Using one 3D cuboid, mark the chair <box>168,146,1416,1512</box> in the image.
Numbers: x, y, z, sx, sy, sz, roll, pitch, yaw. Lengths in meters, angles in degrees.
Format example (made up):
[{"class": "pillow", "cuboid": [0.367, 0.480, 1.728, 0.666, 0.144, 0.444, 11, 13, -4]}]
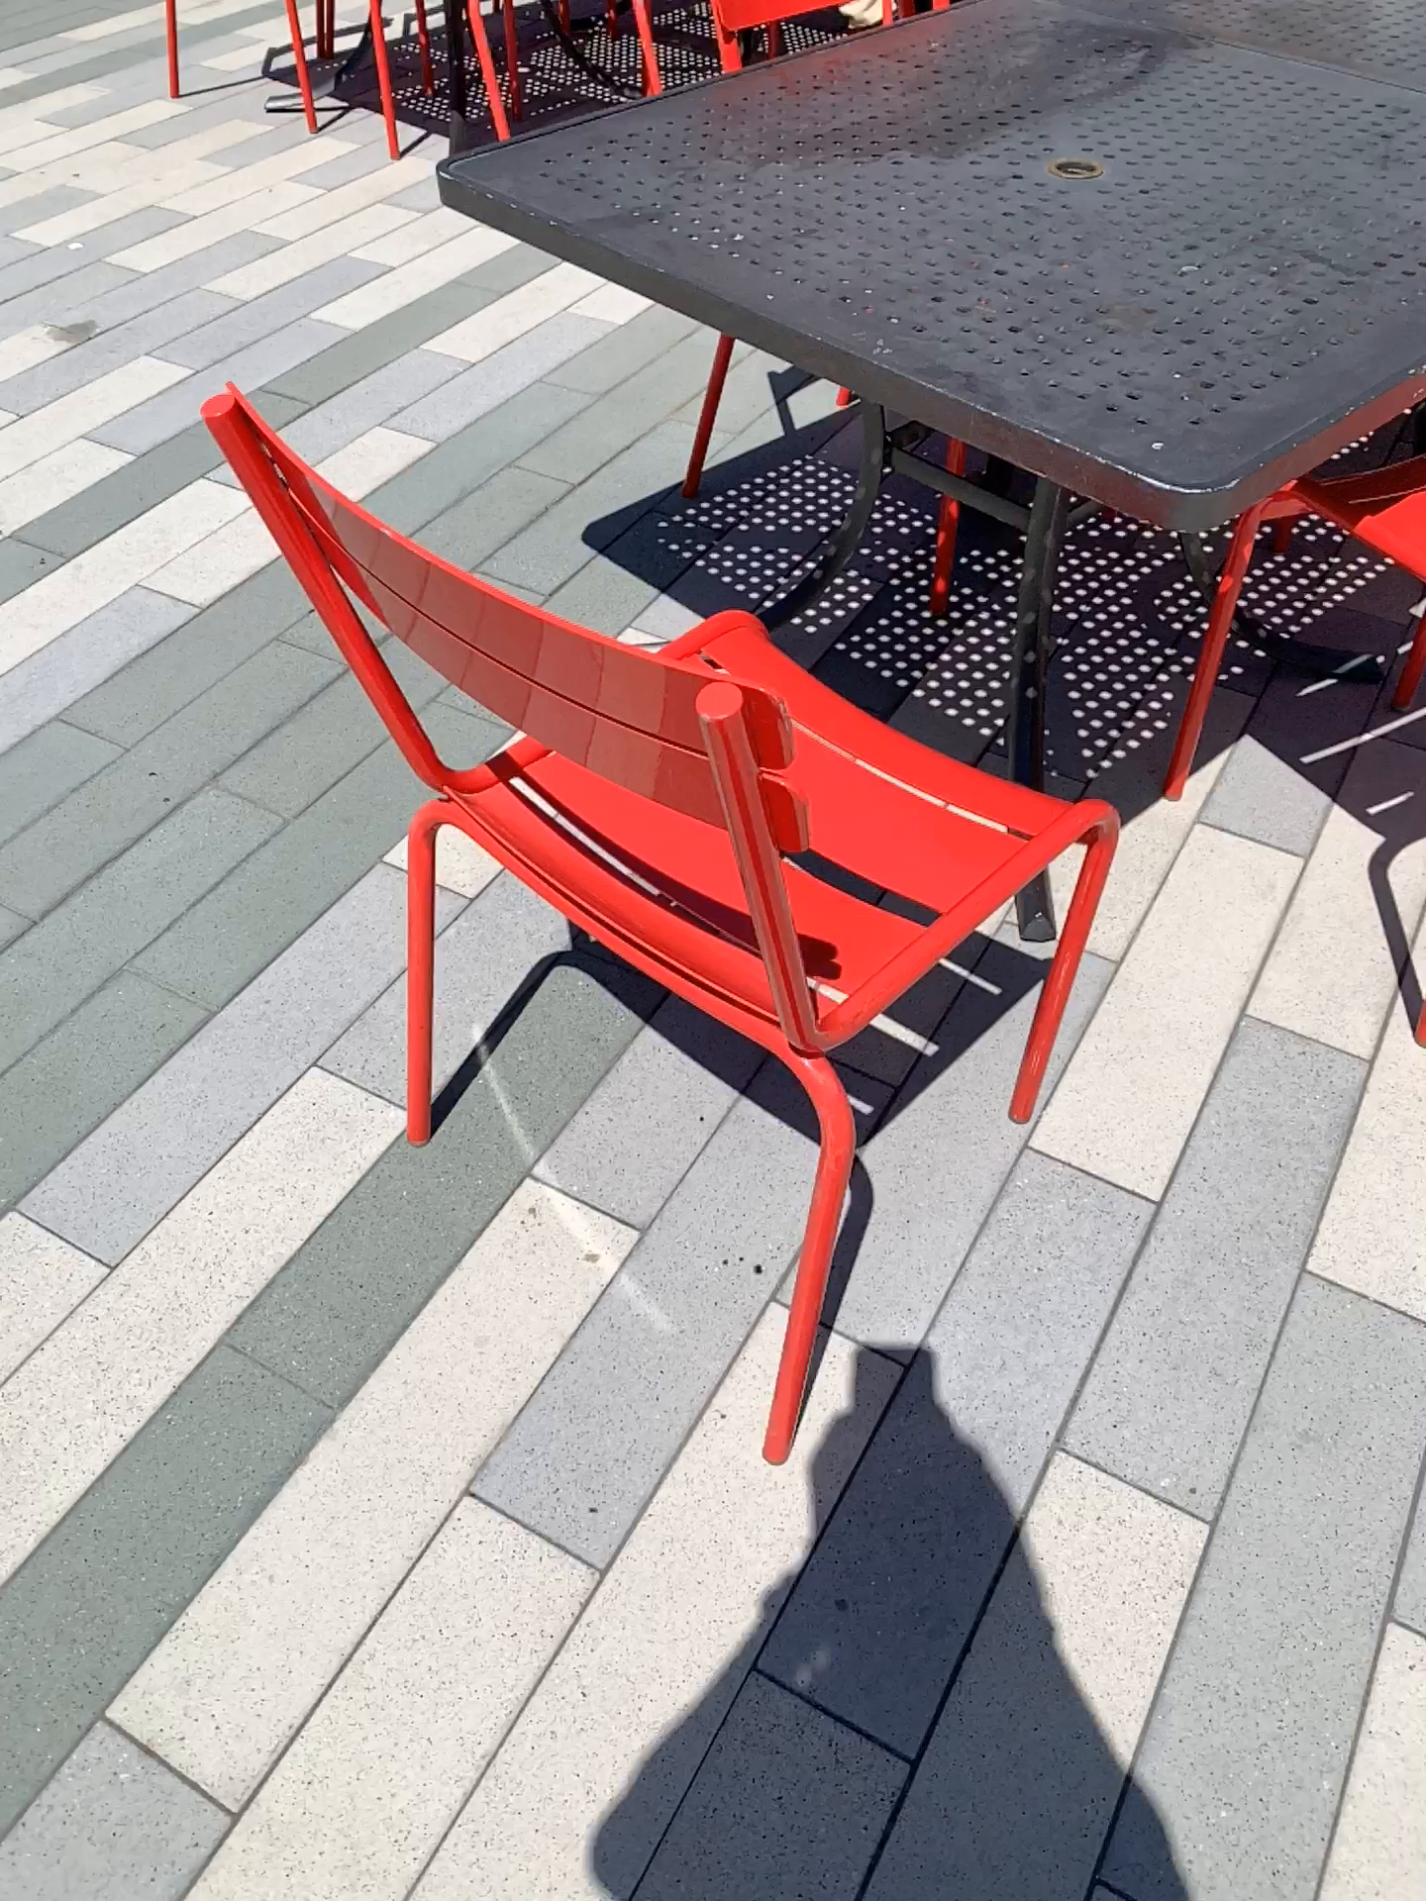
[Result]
[{"class": "chair", "cuboid": [0.058, -0.096, 1.259, 0.582, 0.845, 0.581, 33, 55, 28]}]
